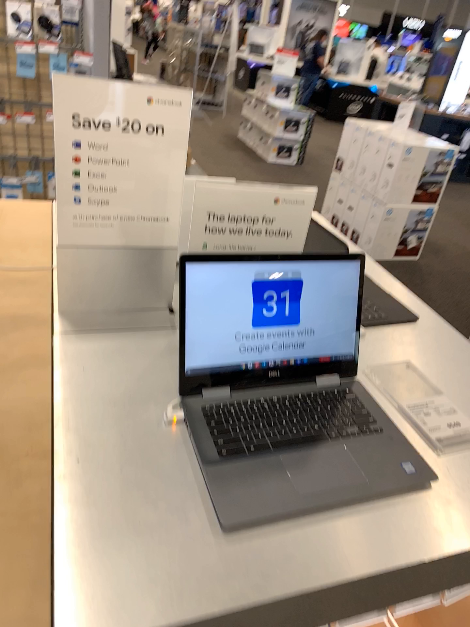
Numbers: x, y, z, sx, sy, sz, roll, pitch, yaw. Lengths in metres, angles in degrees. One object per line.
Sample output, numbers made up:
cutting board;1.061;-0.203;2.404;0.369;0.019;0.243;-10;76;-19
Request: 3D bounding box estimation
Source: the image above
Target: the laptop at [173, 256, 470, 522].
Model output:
laptop;0.102;0.074;0.685;0.309;0.202;0.294;-3;32;-20
